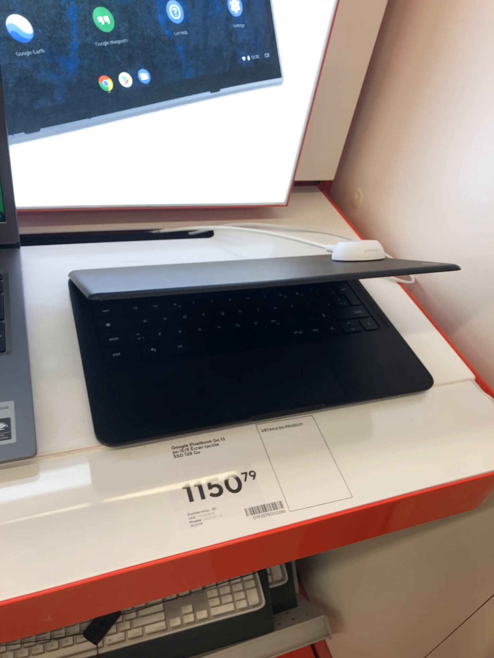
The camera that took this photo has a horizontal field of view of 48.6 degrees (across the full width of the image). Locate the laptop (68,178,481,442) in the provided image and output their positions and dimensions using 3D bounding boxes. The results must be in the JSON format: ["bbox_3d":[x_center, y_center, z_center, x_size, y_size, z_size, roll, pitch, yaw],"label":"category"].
[{"bbox_3d":[0.009,-0.038,0.489,0.298,0.106,0.199,-7,44,-21],"label":"laptop"}]
